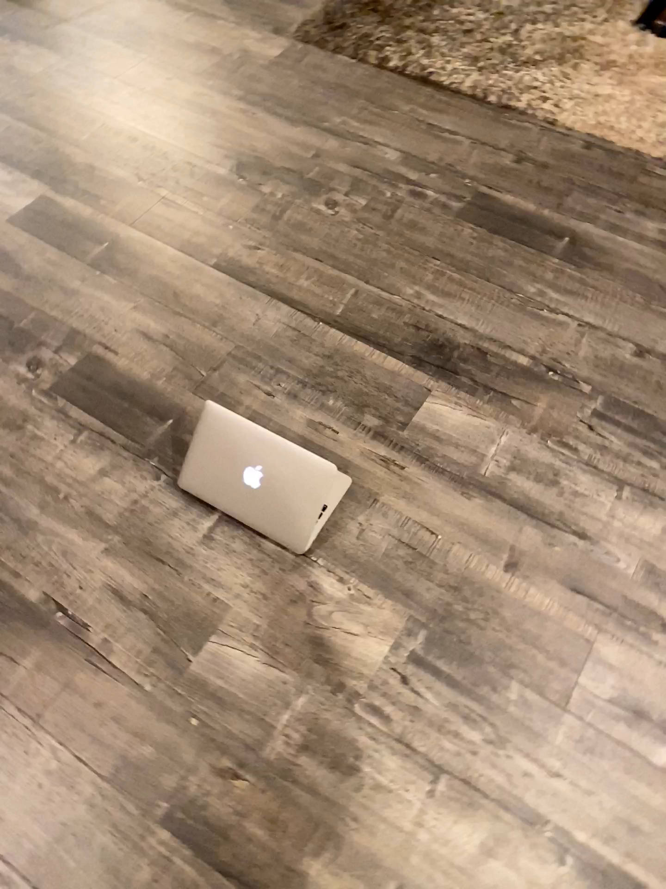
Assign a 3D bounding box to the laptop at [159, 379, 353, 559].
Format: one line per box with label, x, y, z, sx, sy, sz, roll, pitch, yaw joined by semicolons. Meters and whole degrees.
laptop;-0.138;0.043;1.279;0.292;0.132;0.193;25;61;15
